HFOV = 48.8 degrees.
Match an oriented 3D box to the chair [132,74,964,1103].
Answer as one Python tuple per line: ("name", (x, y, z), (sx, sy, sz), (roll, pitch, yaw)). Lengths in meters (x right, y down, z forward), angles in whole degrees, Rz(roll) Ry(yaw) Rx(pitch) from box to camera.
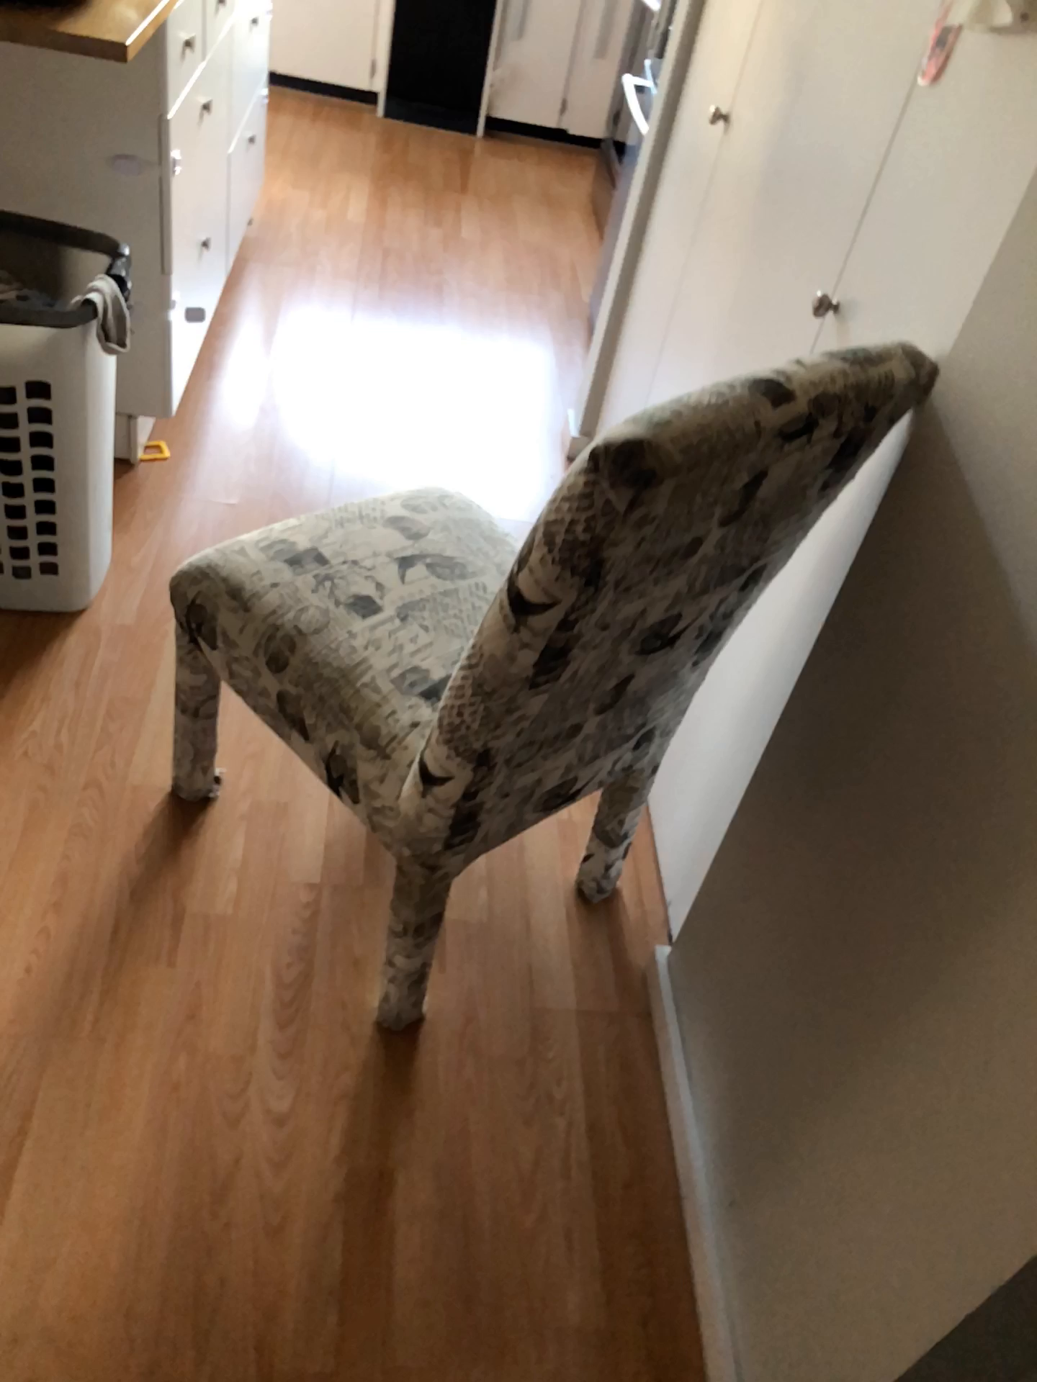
("chair", (-0.069, -0.126, 1.449), (0.520, 0.997, 0.672), (-24, 53, -36))
